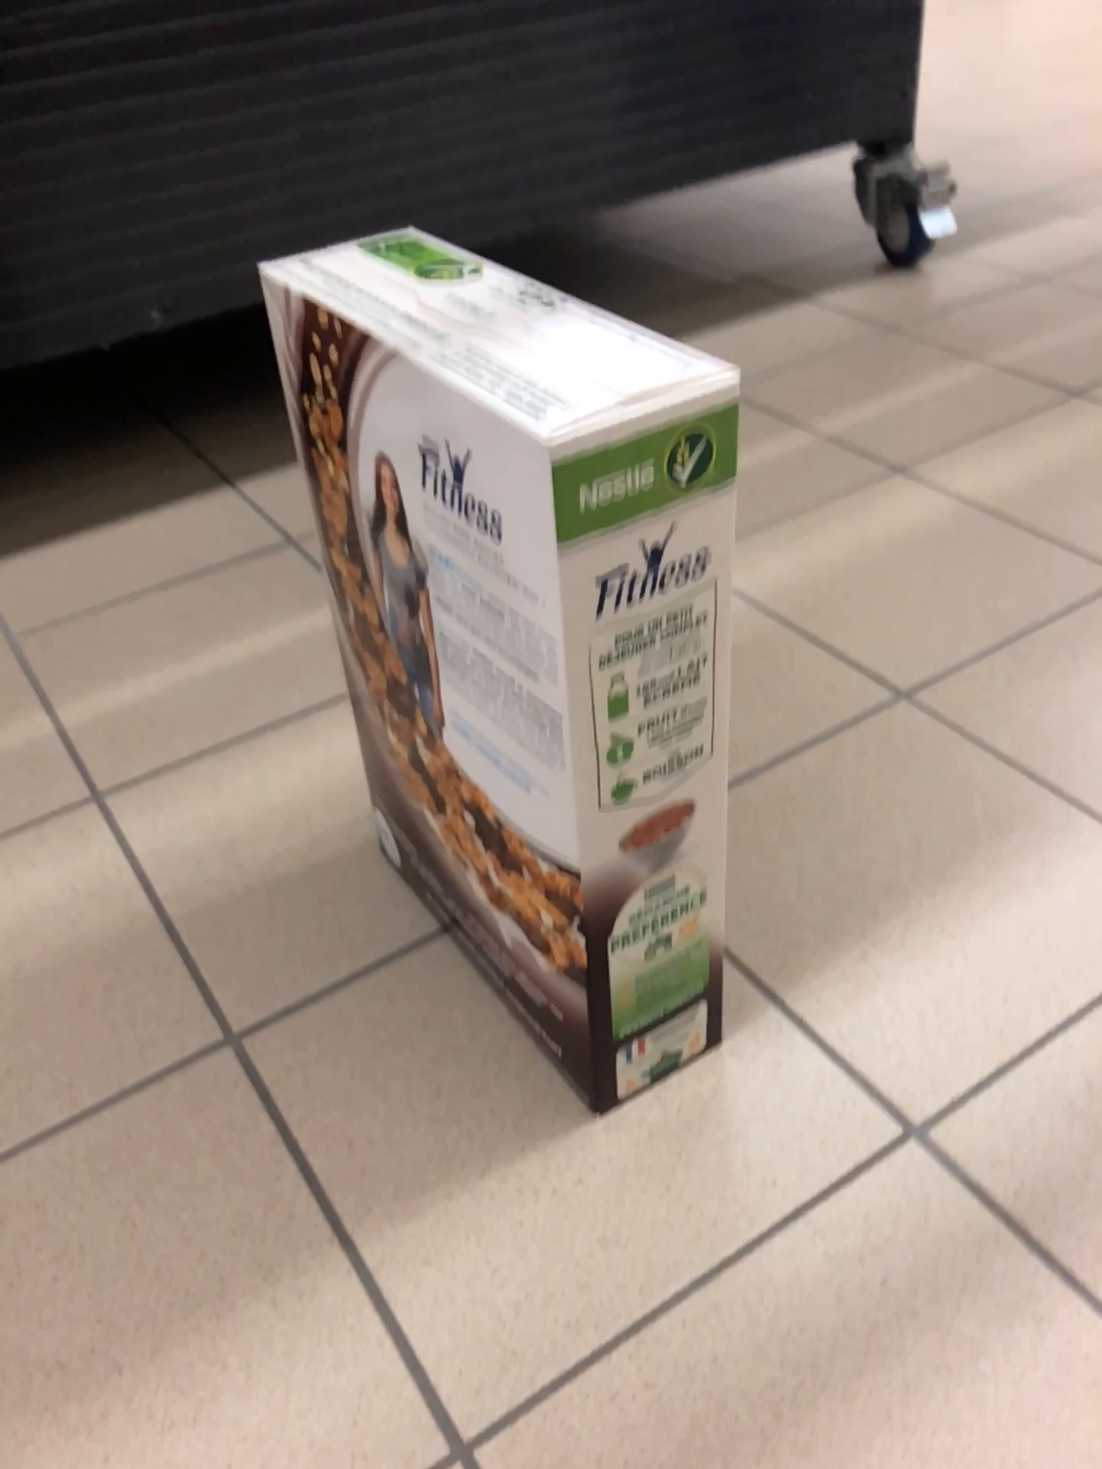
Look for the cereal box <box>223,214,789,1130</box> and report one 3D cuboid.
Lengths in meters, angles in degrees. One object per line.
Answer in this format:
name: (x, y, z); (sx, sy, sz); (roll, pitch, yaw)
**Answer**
cereal box: (-0.018, -0.025, 0.469); (0.080, 0.278, 0.211); (-25, 42, -24)
